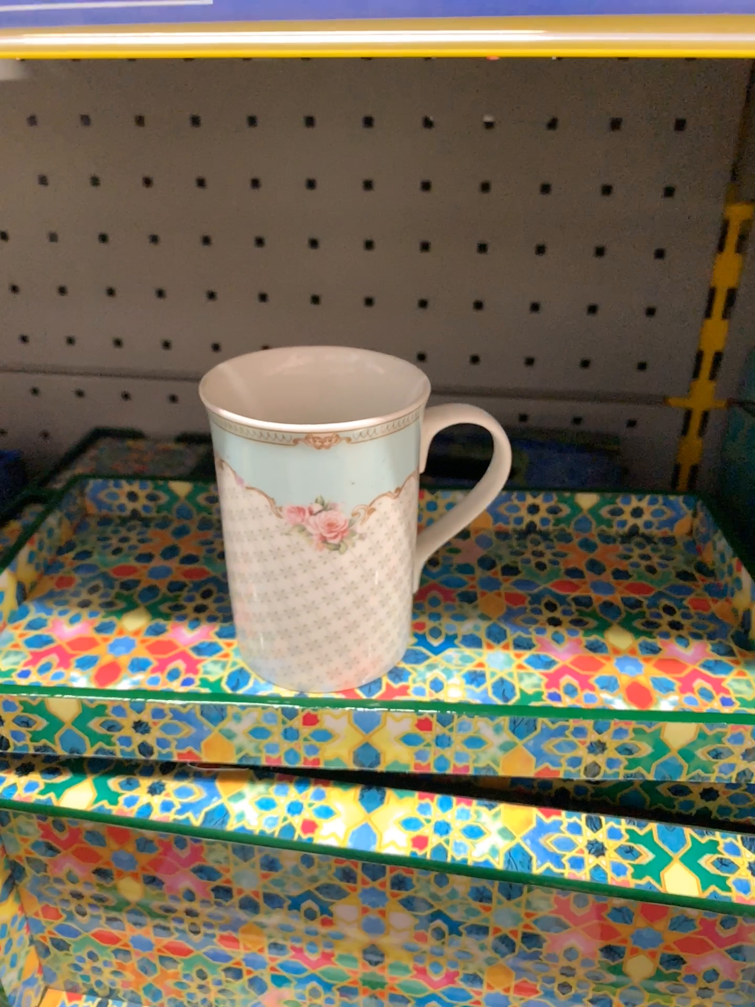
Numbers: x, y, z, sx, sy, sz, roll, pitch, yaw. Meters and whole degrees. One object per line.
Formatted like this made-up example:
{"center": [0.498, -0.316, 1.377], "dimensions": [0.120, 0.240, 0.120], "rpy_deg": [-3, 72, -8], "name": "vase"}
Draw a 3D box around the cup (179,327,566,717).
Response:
{"center": [-0.006, 0.000, 0.290], "dimensions": [0.110, 0.100, 0.080], "rpy_deg": [-10, 30, -18], "name": "cup"}
